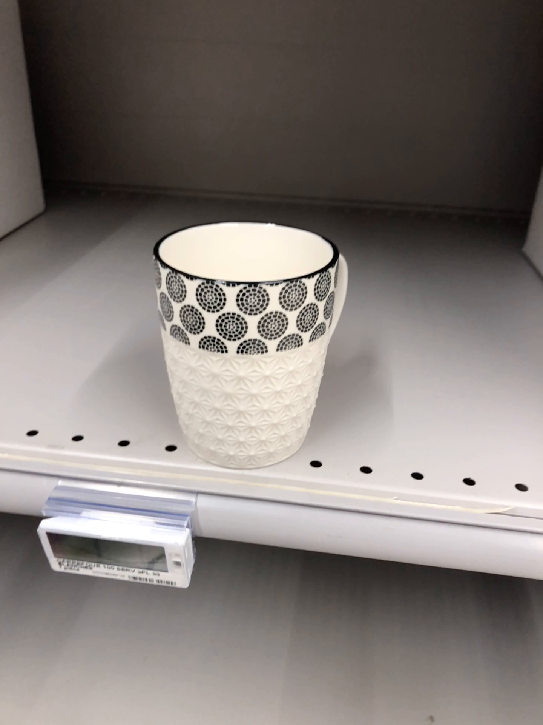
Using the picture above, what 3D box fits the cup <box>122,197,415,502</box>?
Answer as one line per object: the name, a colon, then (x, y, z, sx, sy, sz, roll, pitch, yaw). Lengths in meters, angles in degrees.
cup: (0.001, -0.016, 0.300, 0.088, 0.096, 0.107, 21, 35, 30)
